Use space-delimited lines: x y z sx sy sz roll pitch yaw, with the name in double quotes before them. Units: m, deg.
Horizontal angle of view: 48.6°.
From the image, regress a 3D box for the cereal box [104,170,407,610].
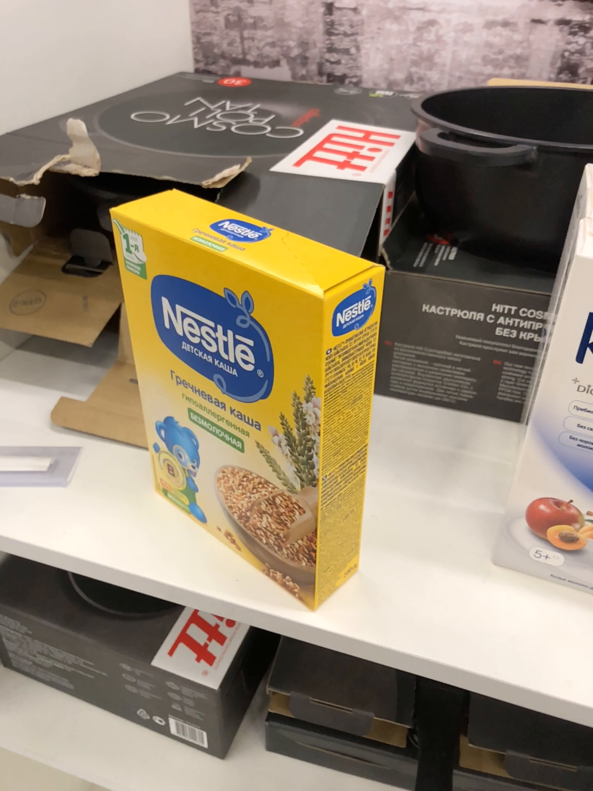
"cereal box" -0.027 -0.003 0.364 0.150 0.199 0.050 28 43 33
